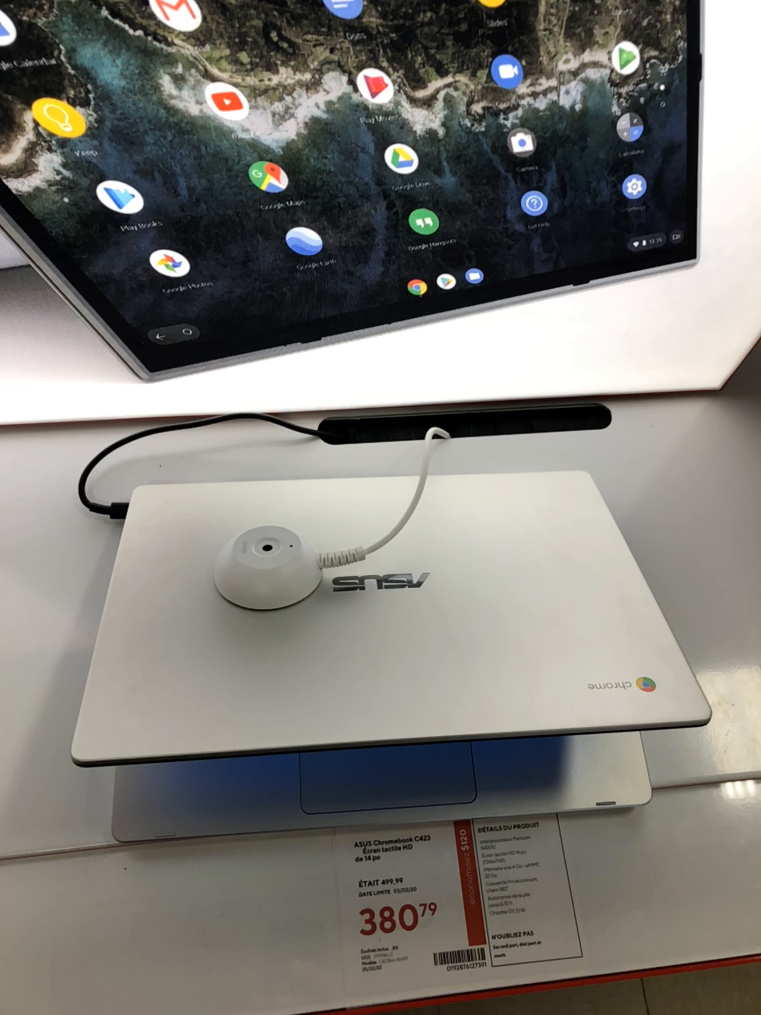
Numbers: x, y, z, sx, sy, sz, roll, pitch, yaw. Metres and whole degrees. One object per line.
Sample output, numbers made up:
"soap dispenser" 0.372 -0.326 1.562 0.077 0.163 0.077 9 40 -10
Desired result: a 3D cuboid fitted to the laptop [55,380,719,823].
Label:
"laptop" -0.002 0.049 0.494 0.317 0.101 0.225 -2 63 -5
